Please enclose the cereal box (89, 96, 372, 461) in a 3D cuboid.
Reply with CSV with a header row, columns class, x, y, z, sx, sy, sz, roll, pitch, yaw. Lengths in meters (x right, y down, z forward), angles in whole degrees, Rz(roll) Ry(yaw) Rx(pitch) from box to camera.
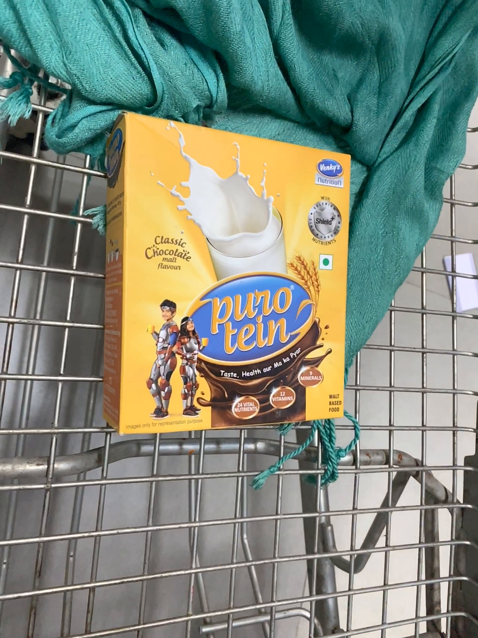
class,x,y,z,sx,sy,sz,roll,pitch,yaw
cereal box,-0.003,-0.016,0.270,0.140,0.050,0.160,2,92,-26
